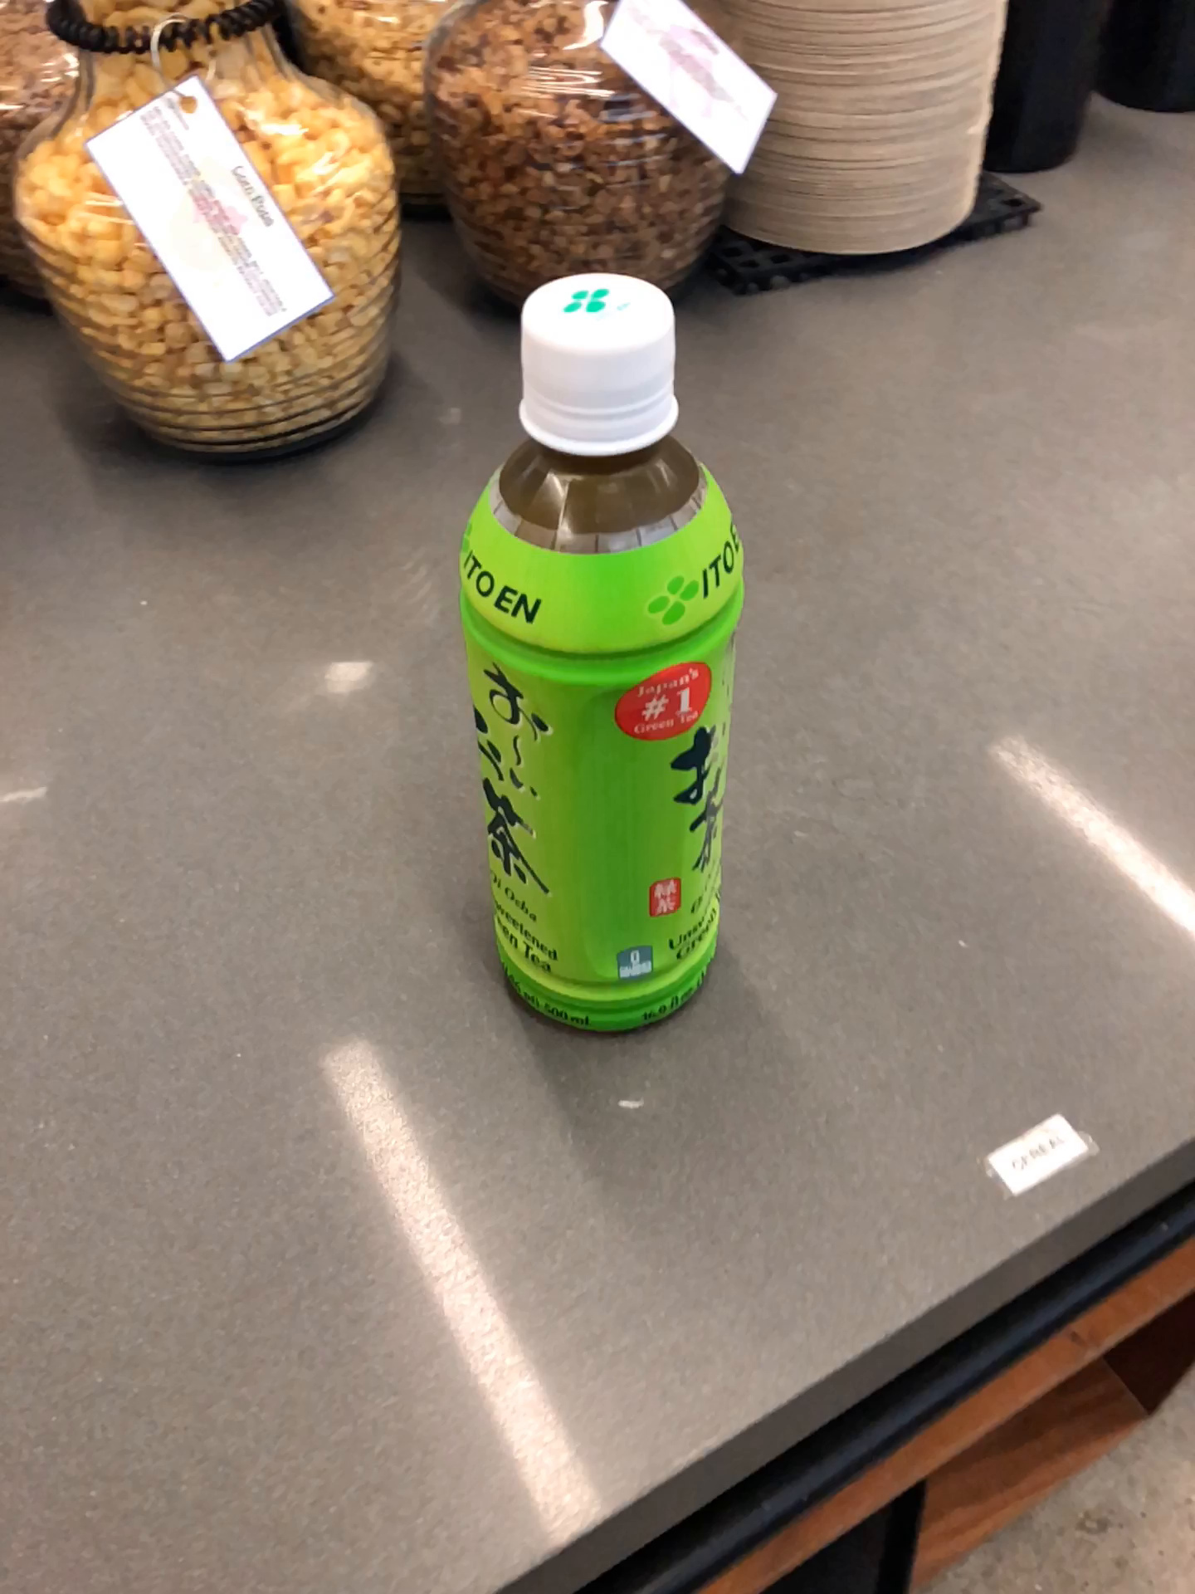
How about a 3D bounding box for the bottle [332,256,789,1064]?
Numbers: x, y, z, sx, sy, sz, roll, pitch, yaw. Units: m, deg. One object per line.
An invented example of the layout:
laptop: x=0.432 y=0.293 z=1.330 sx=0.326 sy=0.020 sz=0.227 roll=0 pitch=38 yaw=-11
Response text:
bottle: x=-0.002 y=-0.022 z=0.327 sx=0.080 sy=0.189 sz=0.080 roll=-1 pitch=47 yaw=1
